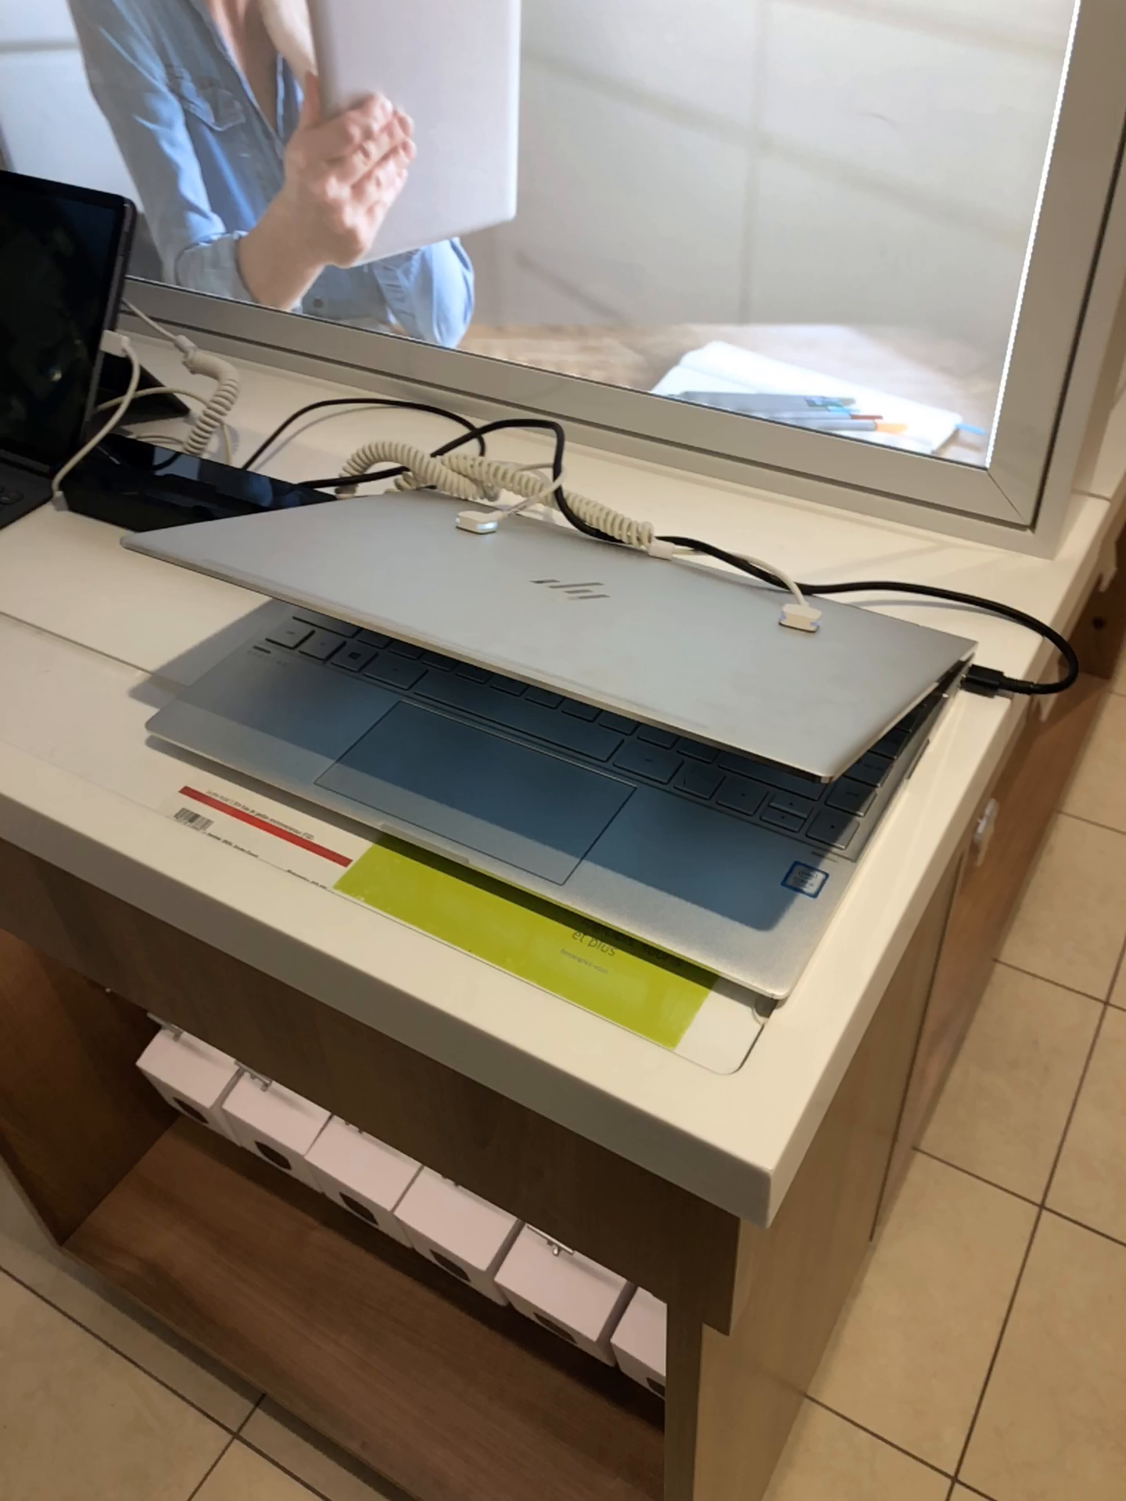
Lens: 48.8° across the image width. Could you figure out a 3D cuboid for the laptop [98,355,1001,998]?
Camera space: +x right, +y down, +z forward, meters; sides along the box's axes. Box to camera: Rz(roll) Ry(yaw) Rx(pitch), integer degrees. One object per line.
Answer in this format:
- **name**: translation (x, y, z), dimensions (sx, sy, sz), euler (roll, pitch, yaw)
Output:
- **laptop**: translation (-0.002, -0.057, 0.521), dimensions (0.299, 0.078, 0.211), euler (20, 48, 24)
